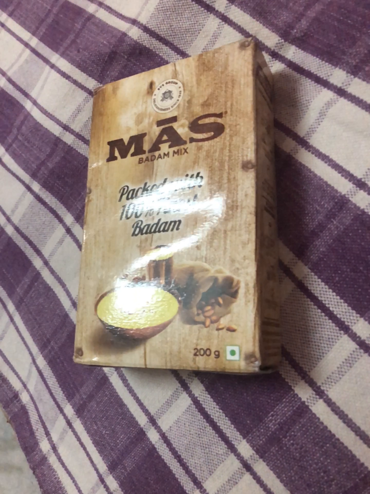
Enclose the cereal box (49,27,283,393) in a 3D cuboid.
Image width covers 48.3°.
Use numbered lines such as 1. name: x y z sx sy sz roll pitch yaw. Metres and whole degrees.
1. cereal box: -0.008 -0.012 0.176 0.090 0.030 0.130 -5 77 28
